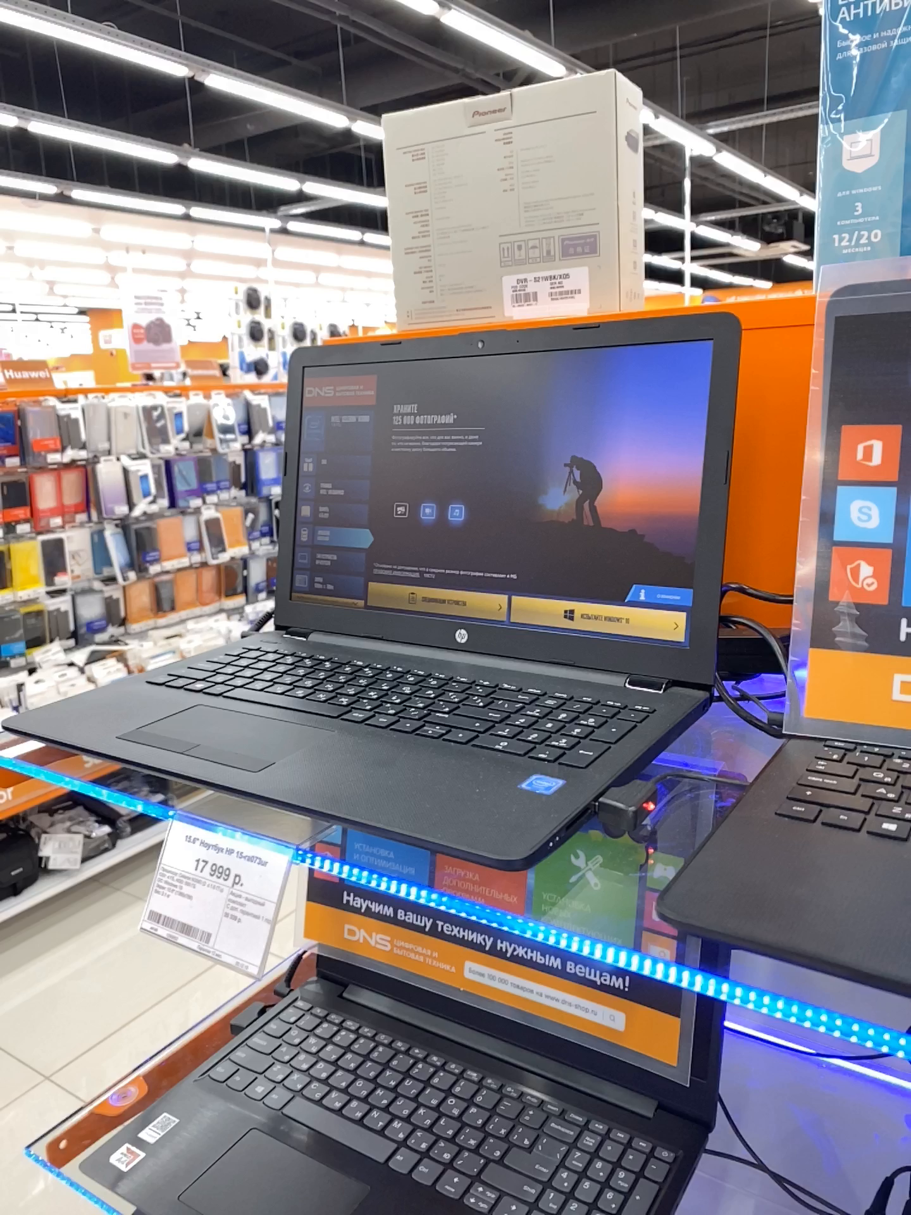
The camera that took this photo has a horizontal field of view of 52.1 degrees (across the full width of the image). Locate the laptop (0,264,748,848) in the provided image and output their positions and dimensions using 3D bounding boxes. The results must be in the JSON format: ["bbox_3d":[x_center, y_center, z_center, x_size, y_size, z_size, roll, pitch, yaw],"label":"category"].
[{"bbox_3d":[-0.048,-0.063,0.614,0.389,0.236,0.322,6,14,33],"label":"laptop"}]
